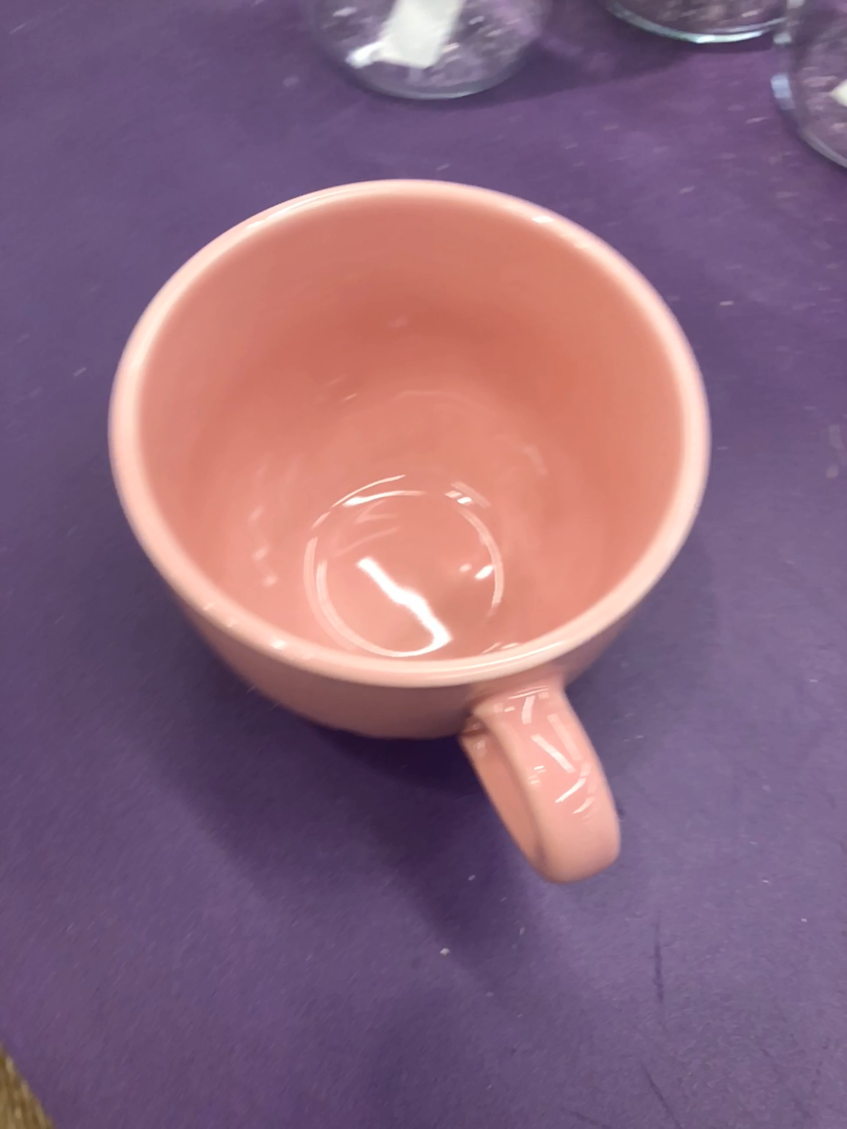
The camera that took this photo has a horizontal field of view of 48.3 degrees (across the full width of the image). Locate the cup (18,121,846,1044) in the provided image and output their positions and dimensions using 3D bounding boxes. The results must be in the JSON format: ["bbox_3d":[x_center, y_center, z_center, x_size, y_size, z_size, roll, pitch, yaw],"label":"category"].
[{"bbox_3d":[0.002,-0.003,0.187,0.110,0.060,0.140,-21,66,-11],"label":"cup"}]
